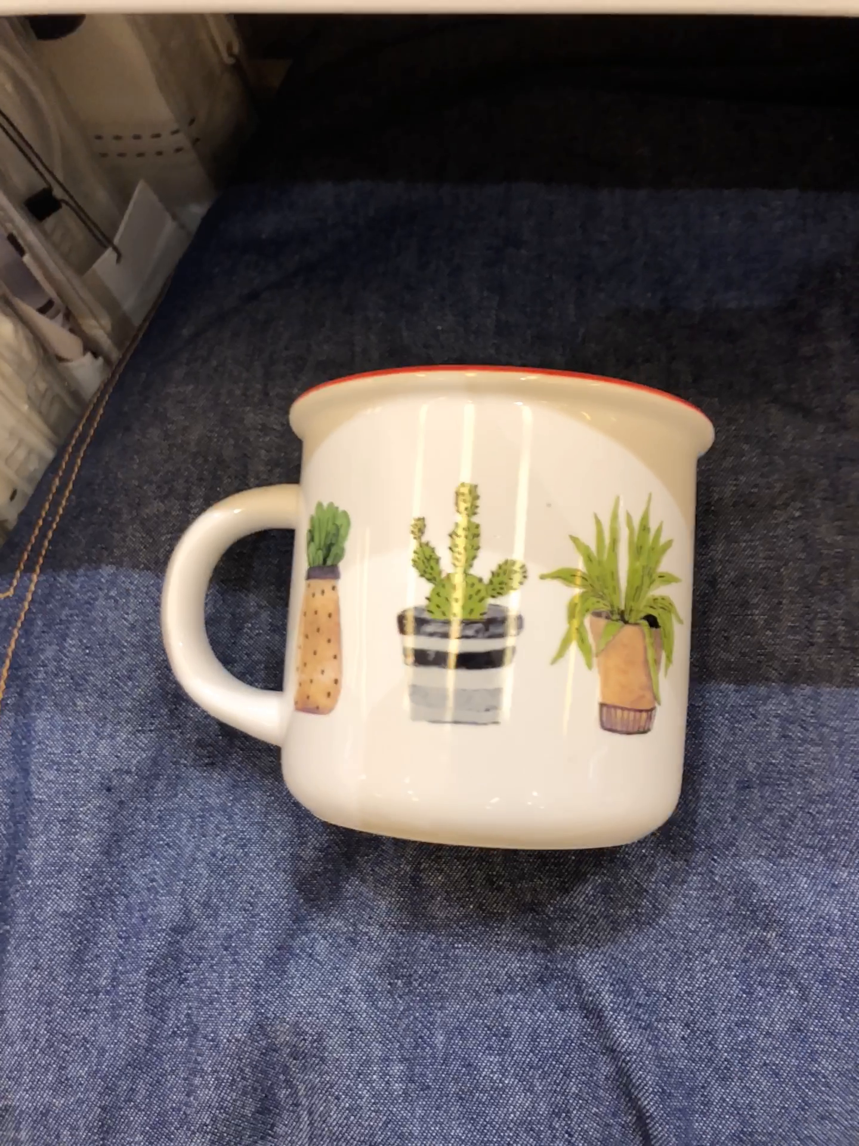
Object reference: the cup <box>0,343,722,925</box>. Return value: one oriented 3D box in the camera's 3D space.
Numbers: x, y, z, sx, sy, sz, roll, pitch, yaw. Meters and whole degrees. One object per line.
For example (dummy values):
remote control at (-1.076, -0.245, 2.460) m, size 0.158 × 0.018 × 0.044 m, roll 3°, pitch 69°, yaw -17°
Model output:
cup at (-0.013, 0.014, 0.219) m, size 0.140 × 0.090 × 0.100 m, roll 2°, pitch 79°, yaw 9°
